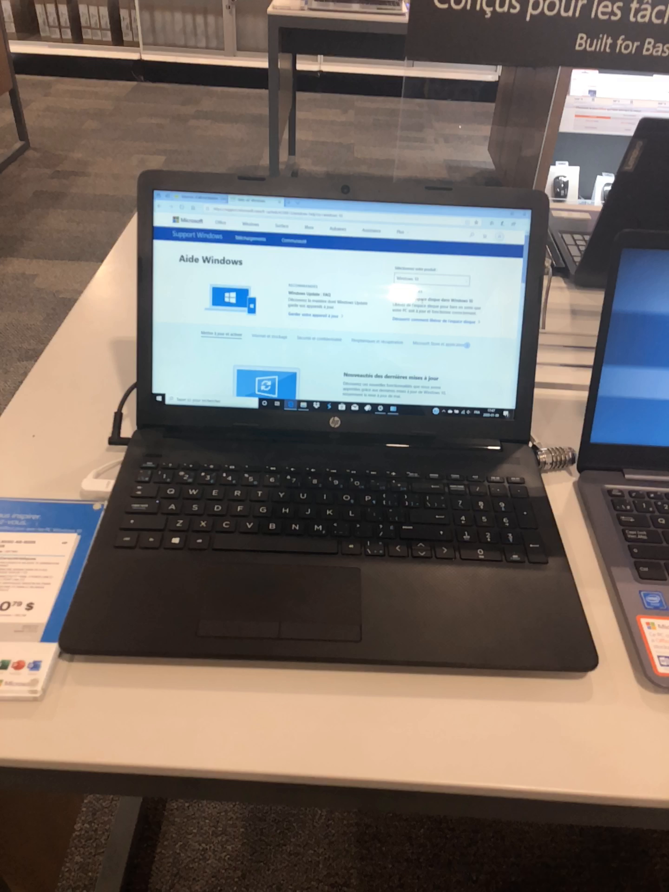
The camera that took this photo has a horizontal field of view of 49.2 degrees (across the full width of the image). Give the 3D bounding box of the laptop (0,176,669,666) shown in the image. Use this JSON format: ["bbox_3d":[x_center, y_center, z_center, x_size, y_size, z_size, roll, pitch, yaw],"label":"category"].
[{"bbox_3d":[0.001,-0.047,0.571,0.356,0.194,0.361,2,38,0],"label":"laptop"}]
